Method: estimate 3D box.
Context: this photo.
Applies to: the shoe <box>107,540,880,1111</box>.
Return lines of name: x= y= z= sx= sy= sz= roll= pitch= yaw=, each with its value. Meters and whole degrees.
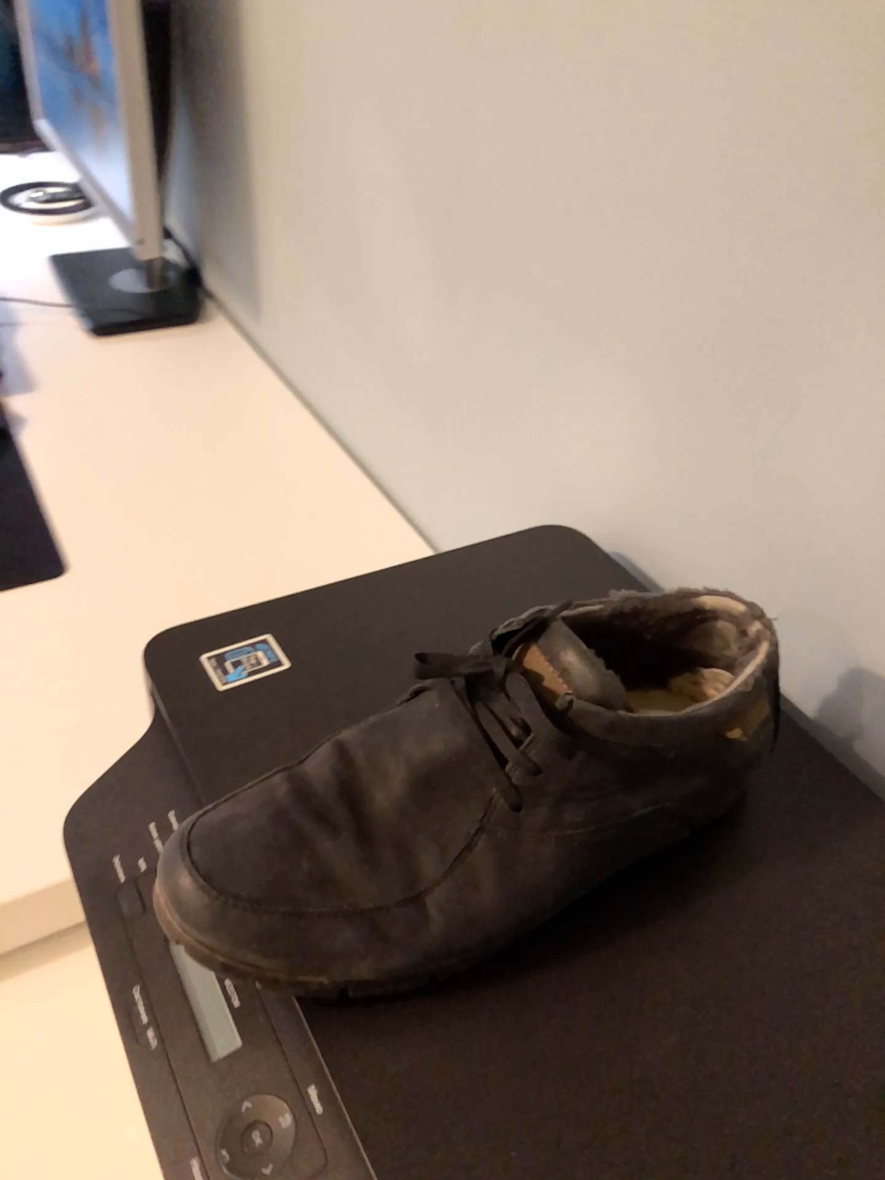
shoe: x=0.022 y=0.082 z=0.410 sx=0.281 sy=0.109 sz=0.111 roll=-14 pitch=42 yaw=-22
